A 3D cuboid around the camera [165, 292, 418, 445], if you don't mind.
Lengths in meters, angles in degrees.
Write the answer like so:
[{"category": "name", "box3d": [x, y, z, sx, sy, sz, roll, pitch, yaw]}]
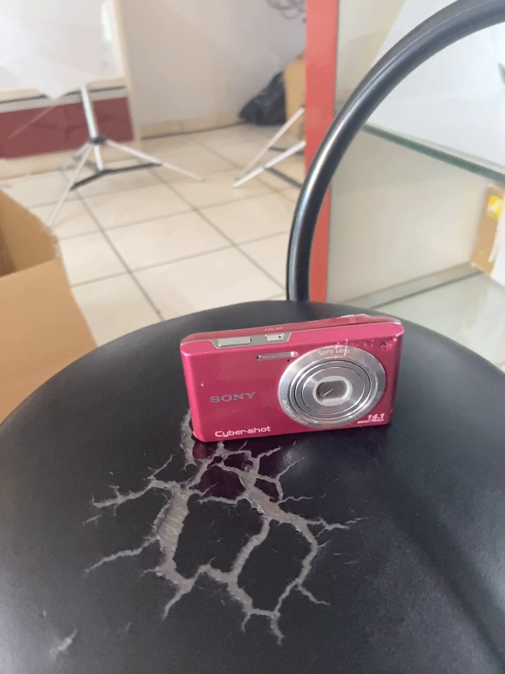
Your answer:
[{"category": "camera", "box3d": [0.017, 0.014, 0.233, 0.100, 0.050, 0.030, -6, 34, 0]}]
